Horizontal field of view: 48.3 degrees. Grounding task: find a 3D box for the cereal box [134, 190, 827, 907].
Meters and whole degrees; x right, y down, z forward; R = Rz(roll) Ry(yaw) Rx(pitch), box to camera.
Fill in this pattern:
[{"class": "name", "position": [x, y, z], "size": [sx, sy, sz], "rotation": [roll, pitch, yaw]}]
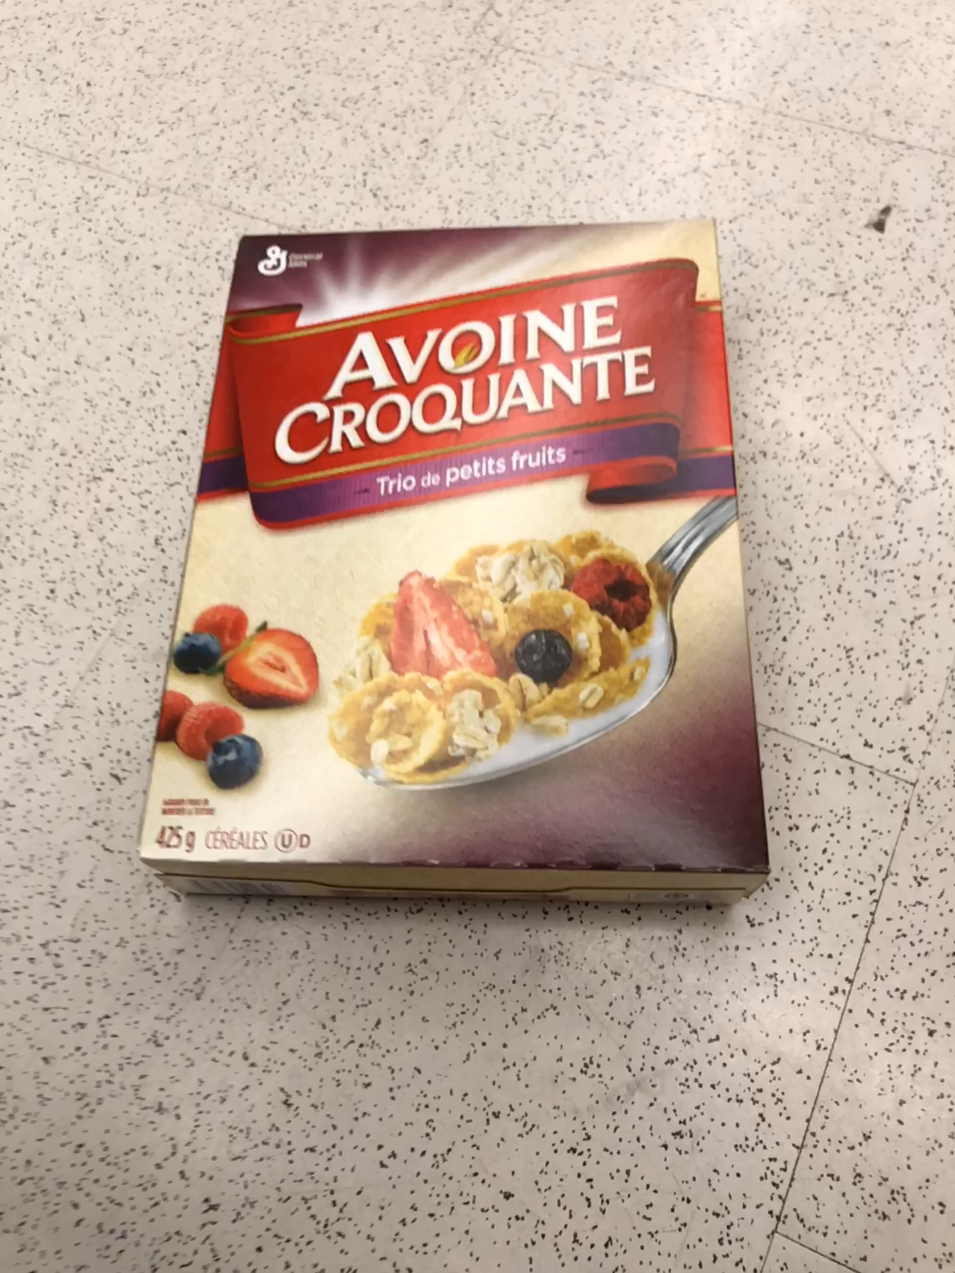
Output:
[{"class": "cereal box", "position": [0.006, -0.043, 0.404], "size": [0.210, 0.060, 0.270], "rotation": [0, 66, 5]}]
